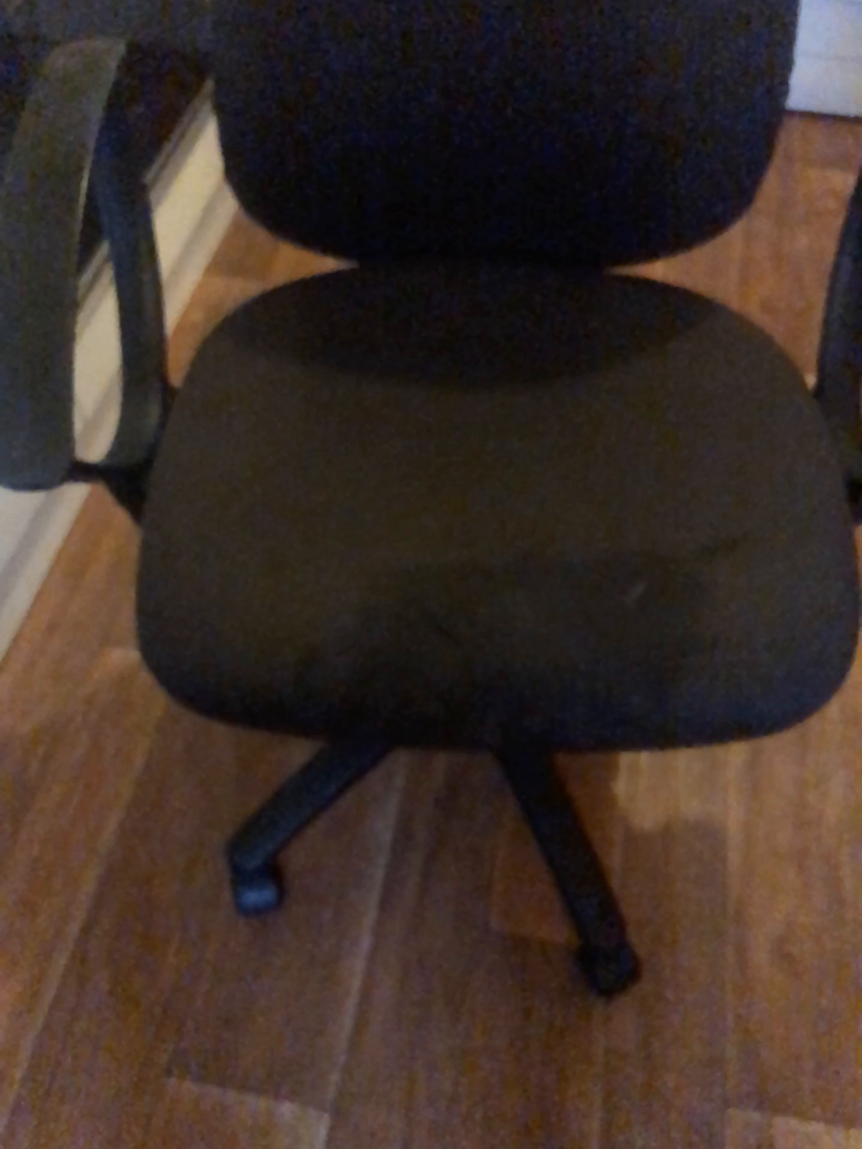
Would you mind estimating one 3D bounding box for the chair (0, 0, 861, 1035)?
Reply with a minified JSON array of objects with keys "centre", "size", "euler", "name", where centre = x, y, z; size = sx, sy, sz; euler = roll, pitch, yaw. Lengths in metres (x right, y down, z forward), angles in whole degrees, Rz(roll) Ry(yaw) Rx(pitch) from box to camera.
[{"centre":[0.052,-0.186,0.821],"size":[0.685,0.756,0.878],"euler":[3,54,2],"name":"chair"}]
